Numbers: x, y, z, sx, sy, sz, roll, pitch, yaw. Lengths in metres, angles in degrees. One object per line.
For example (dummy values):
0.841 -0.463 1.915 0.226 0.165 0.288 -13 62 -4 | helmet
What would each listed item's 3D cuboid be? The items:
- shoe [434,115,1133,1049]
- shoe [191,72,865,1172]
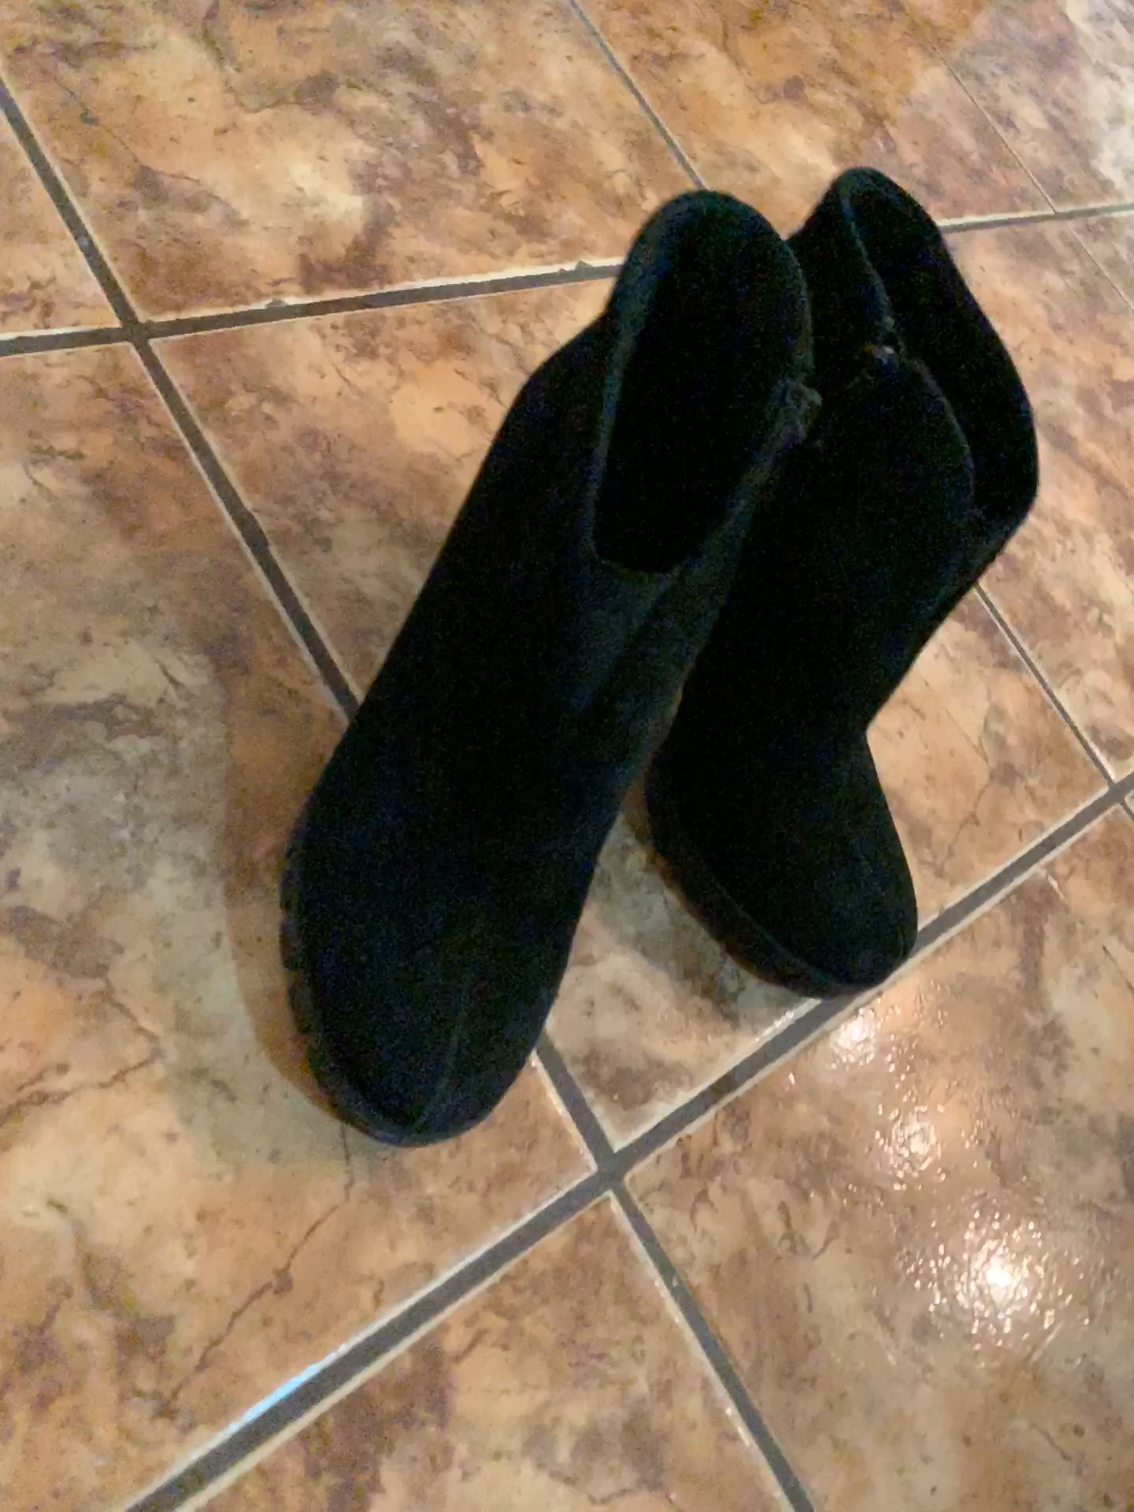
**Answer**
0.076 -0.049 0.382 0.095 0.180 0.229 -21 75 -33 | shoe
-0.015 -0.024 0.323 0.094 0.180 0.230 17 58 -18 | shoe
